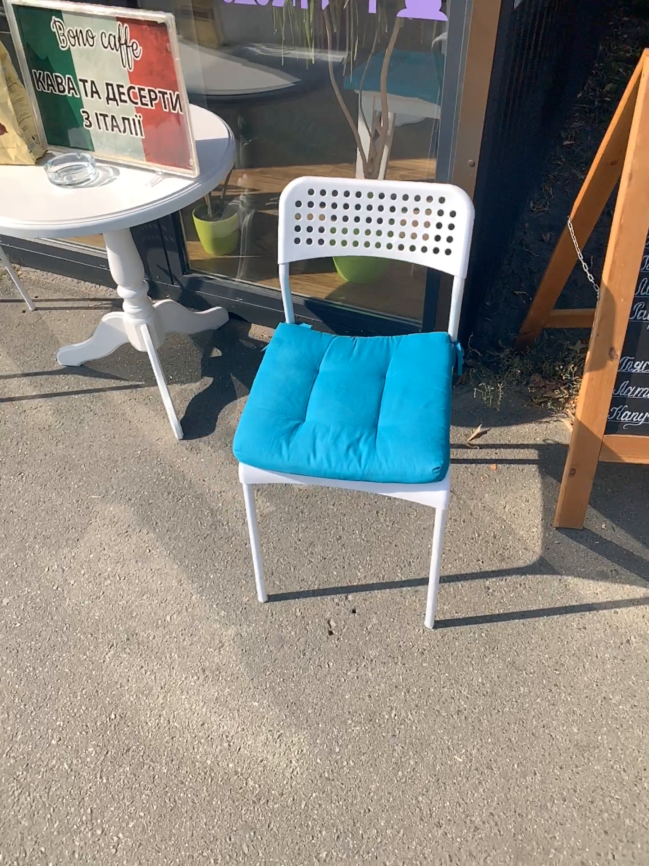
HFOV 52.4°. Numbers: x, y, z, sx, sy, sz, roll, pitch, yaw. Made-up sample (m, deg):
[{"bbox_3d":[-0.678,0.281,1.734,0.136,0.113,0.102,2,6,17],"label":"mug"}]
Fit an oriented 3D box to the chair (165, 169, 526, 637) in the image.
[{"bbox_3d":[0.074,-0.048,1.302,0.480,0.697,0.542,6,46,8],"label":"chair"}]
